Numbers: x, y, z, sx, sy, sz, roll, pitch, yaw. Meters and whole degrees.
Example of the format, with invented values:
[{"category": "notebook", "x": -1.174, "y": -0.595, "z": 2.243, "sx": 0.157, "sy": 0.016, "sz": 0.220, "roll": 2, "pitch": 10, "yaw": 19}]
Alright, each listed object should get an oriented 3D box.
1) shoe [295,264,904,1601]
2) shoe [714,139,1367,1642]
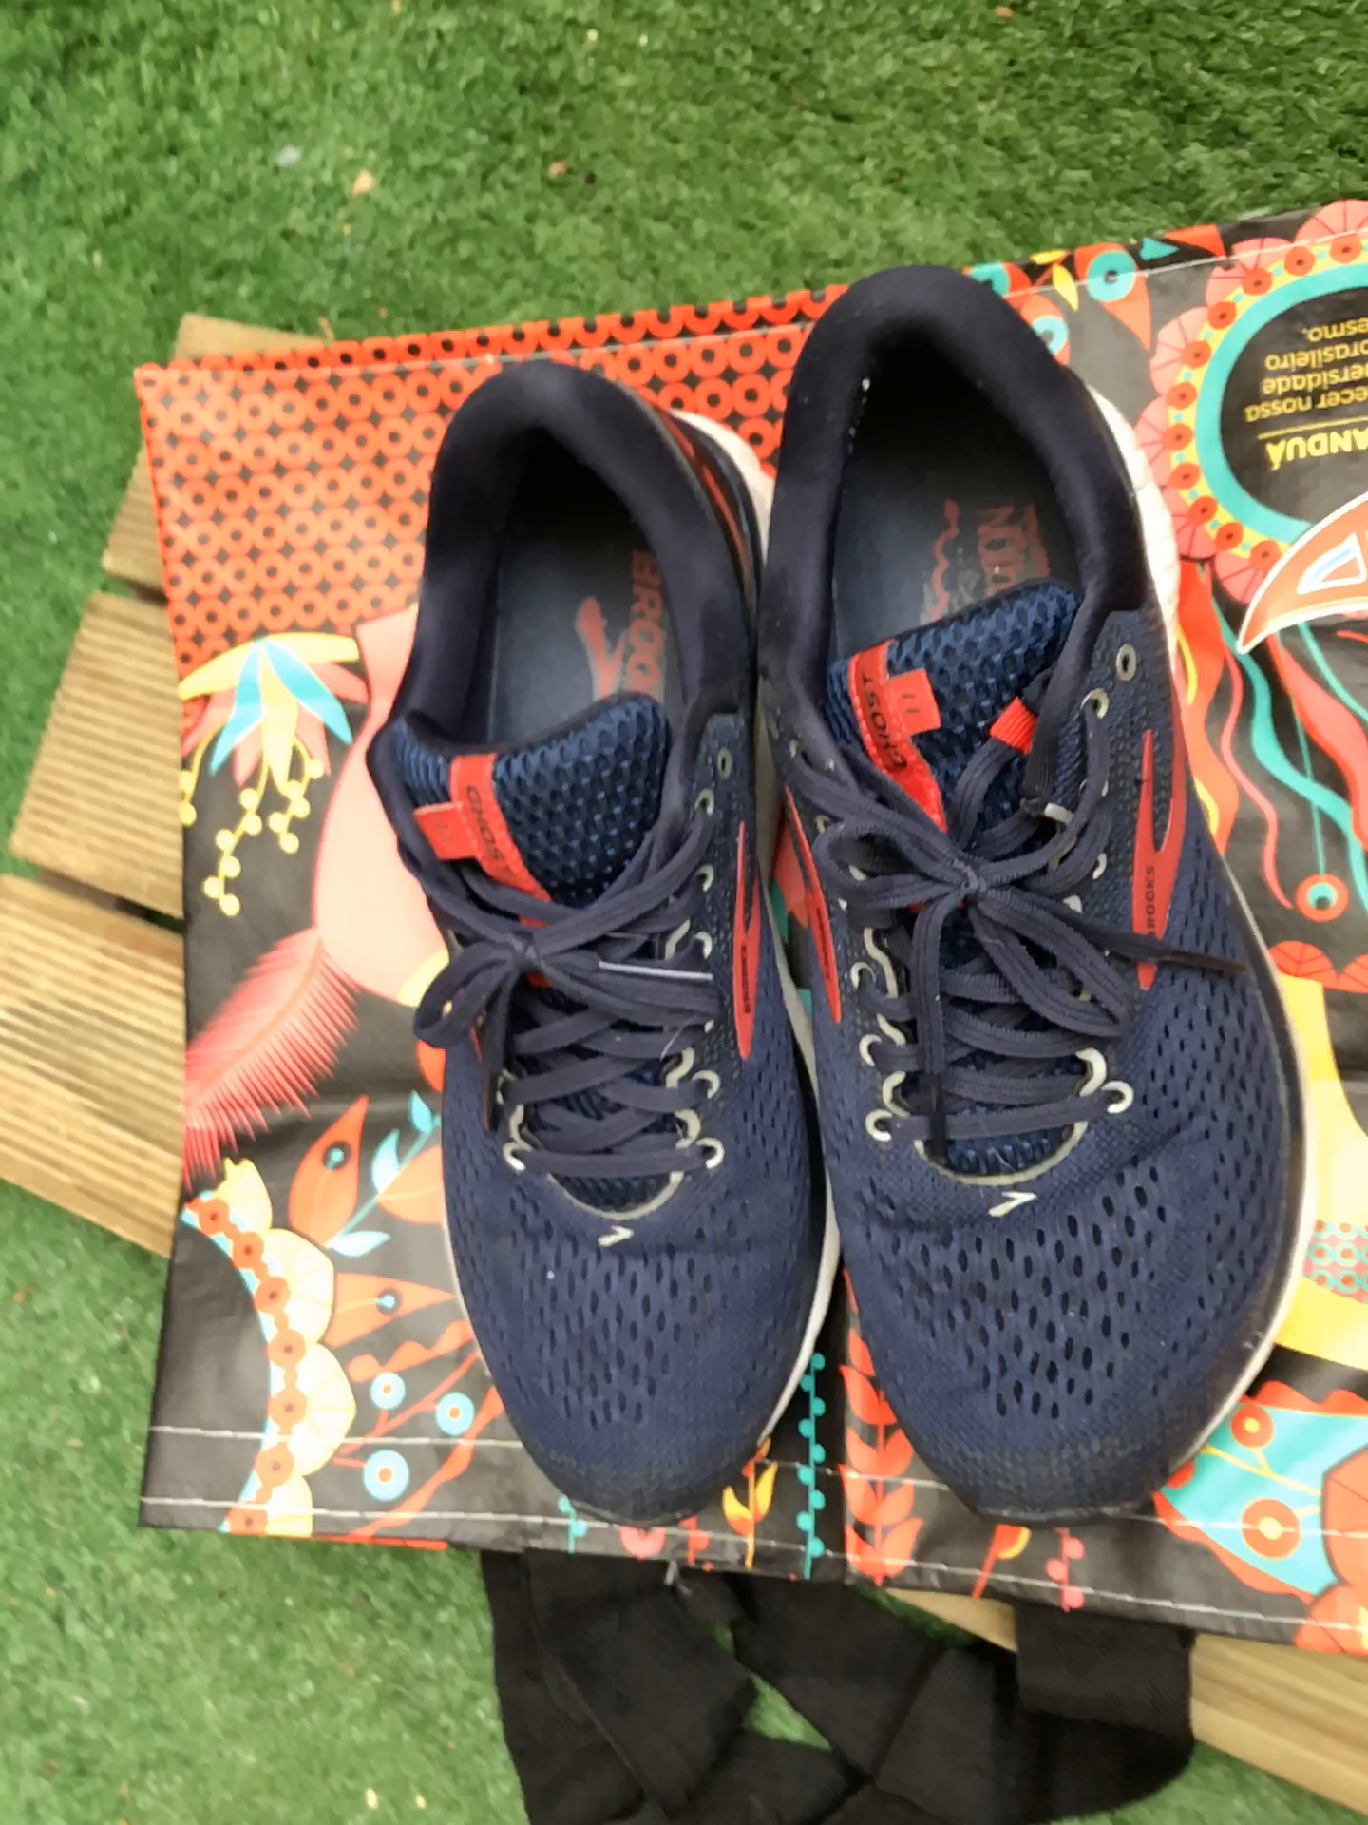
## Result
[{"category": "shoe", "x": -0.018, "y": 0.006, "z": 0.364, "sx": 0.107, "sy": 0.100, "sz": 0.265, "roll": -5, "pitch": 82, "yaw": 20}, {"category": "shoe", "x": 0.079, "y": -0.002, "z": 0.327, "sx": 0.100, "sy": 0.100, "sz": 0.265, "roll": -7, "pitch": 81, "yaw": 20}]
